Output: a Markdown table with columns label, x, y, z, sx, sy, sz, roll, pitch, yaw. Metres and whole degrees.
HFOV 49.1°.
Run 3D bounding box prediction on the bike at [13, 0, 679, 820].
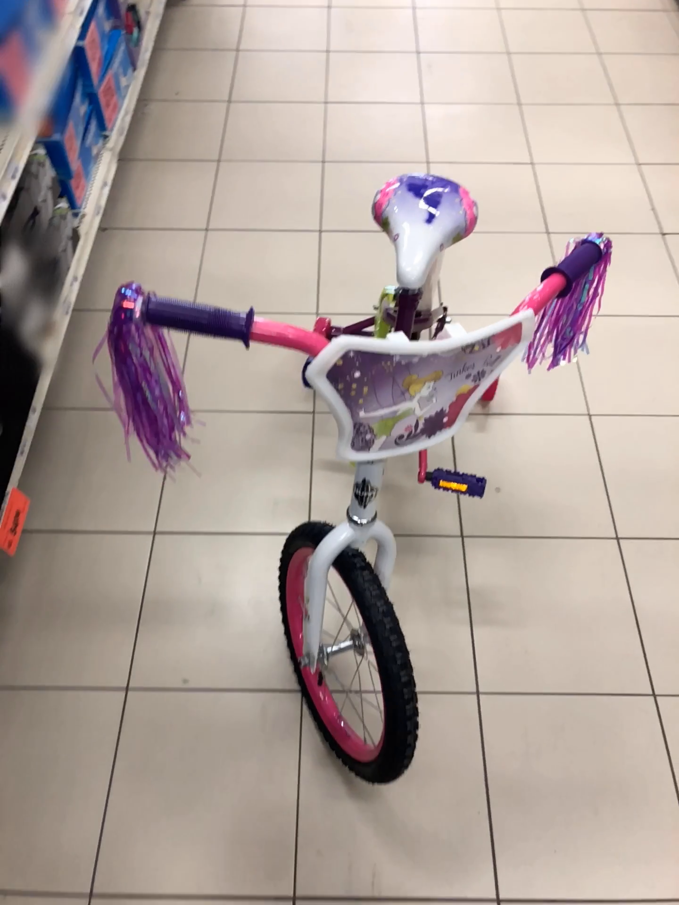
| label | x | y | z | sx | sy | sz | roll | pitch | yaw |
| --- | --- | --- | --- | --- | --- | --- | --- | --- | --- |
| bike | 0.123 | -0.136 | 1.129 | 0.595 | 0.810 | 1.071 | 6 | 56 | 3 |
